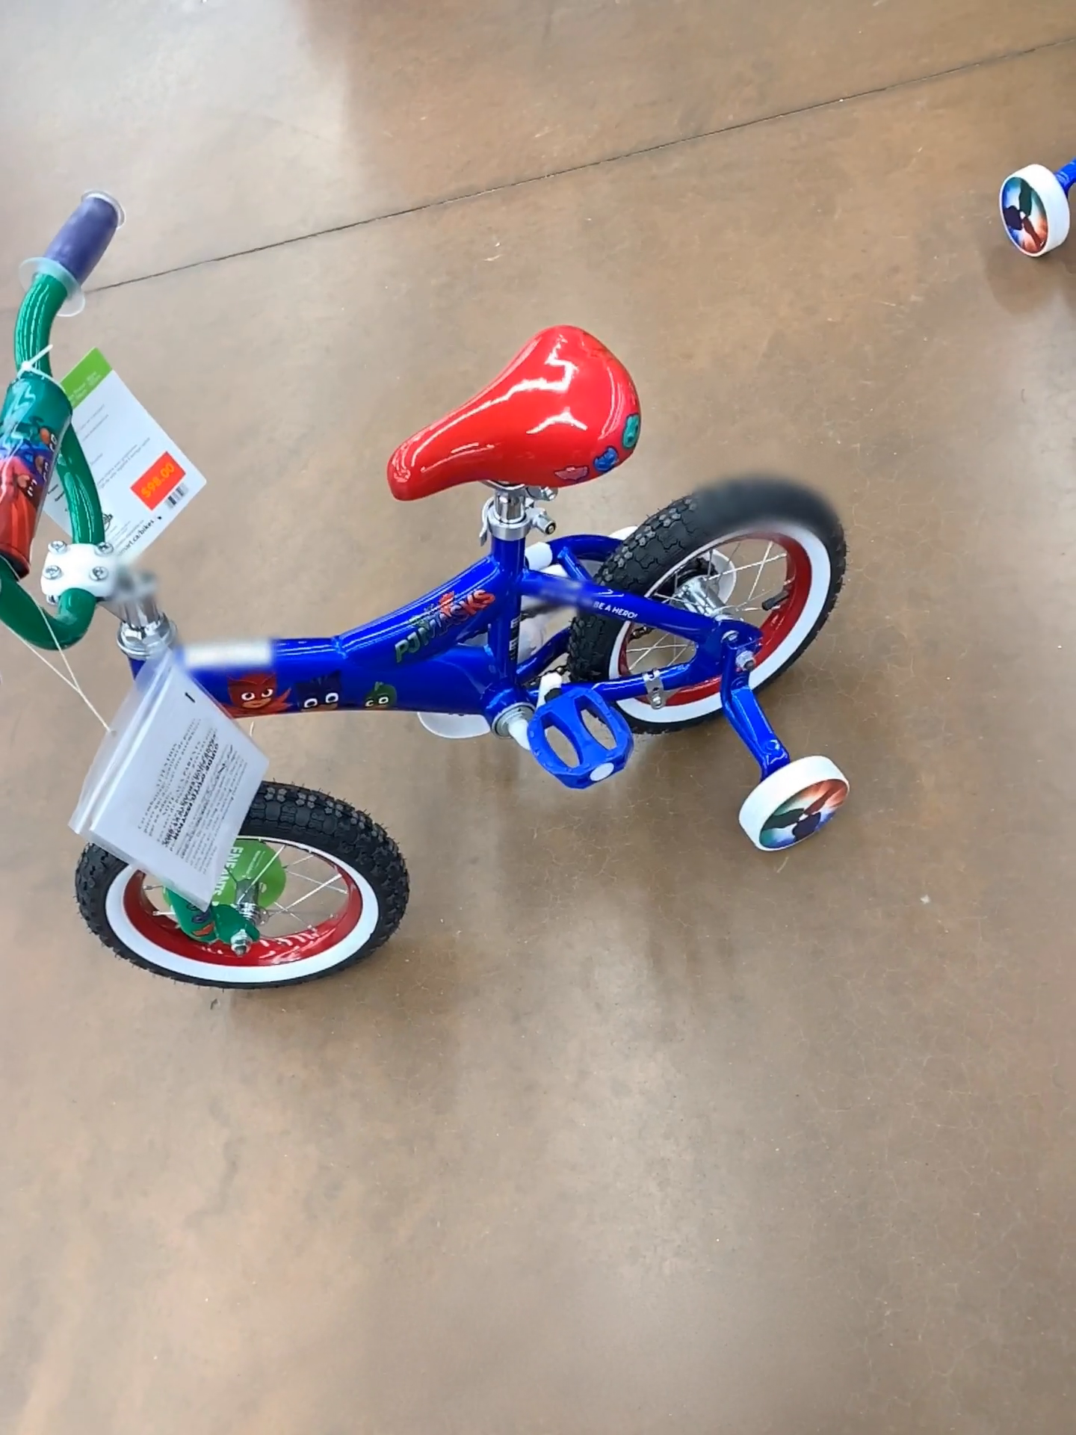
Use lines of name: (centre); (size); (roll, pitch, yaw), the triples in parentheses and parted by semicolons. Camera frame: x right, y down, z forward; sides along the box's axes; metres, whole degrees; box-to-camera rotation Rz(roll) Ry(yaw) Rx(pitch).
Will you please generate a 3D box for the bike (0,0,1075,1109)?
bike: (-0.114, -0.125, 0.942); (0.793, 0.695, 0.466); (-27, 55, -1)
